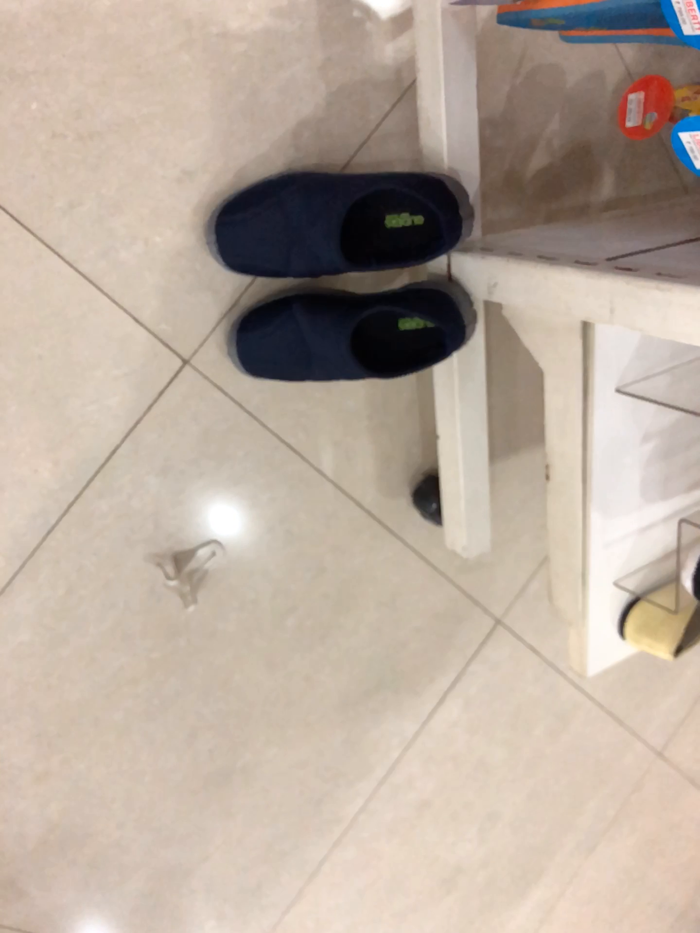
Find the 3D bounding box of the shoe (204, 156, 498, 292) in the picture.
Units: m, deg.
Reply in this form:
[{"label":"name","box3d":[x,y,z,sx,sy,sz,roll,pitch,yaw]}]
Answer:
[{"label":"shoe","box3d":[0.004,-0.253,0.806,0.289,0.063,0.107,-8,113,-11]}]

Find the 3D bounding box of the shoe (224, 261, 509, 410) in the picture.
[{"label":"shoe","box3d":[0.020,-0.146,0.845,0.289,0.083,0.110,-9,113,-13]}]
